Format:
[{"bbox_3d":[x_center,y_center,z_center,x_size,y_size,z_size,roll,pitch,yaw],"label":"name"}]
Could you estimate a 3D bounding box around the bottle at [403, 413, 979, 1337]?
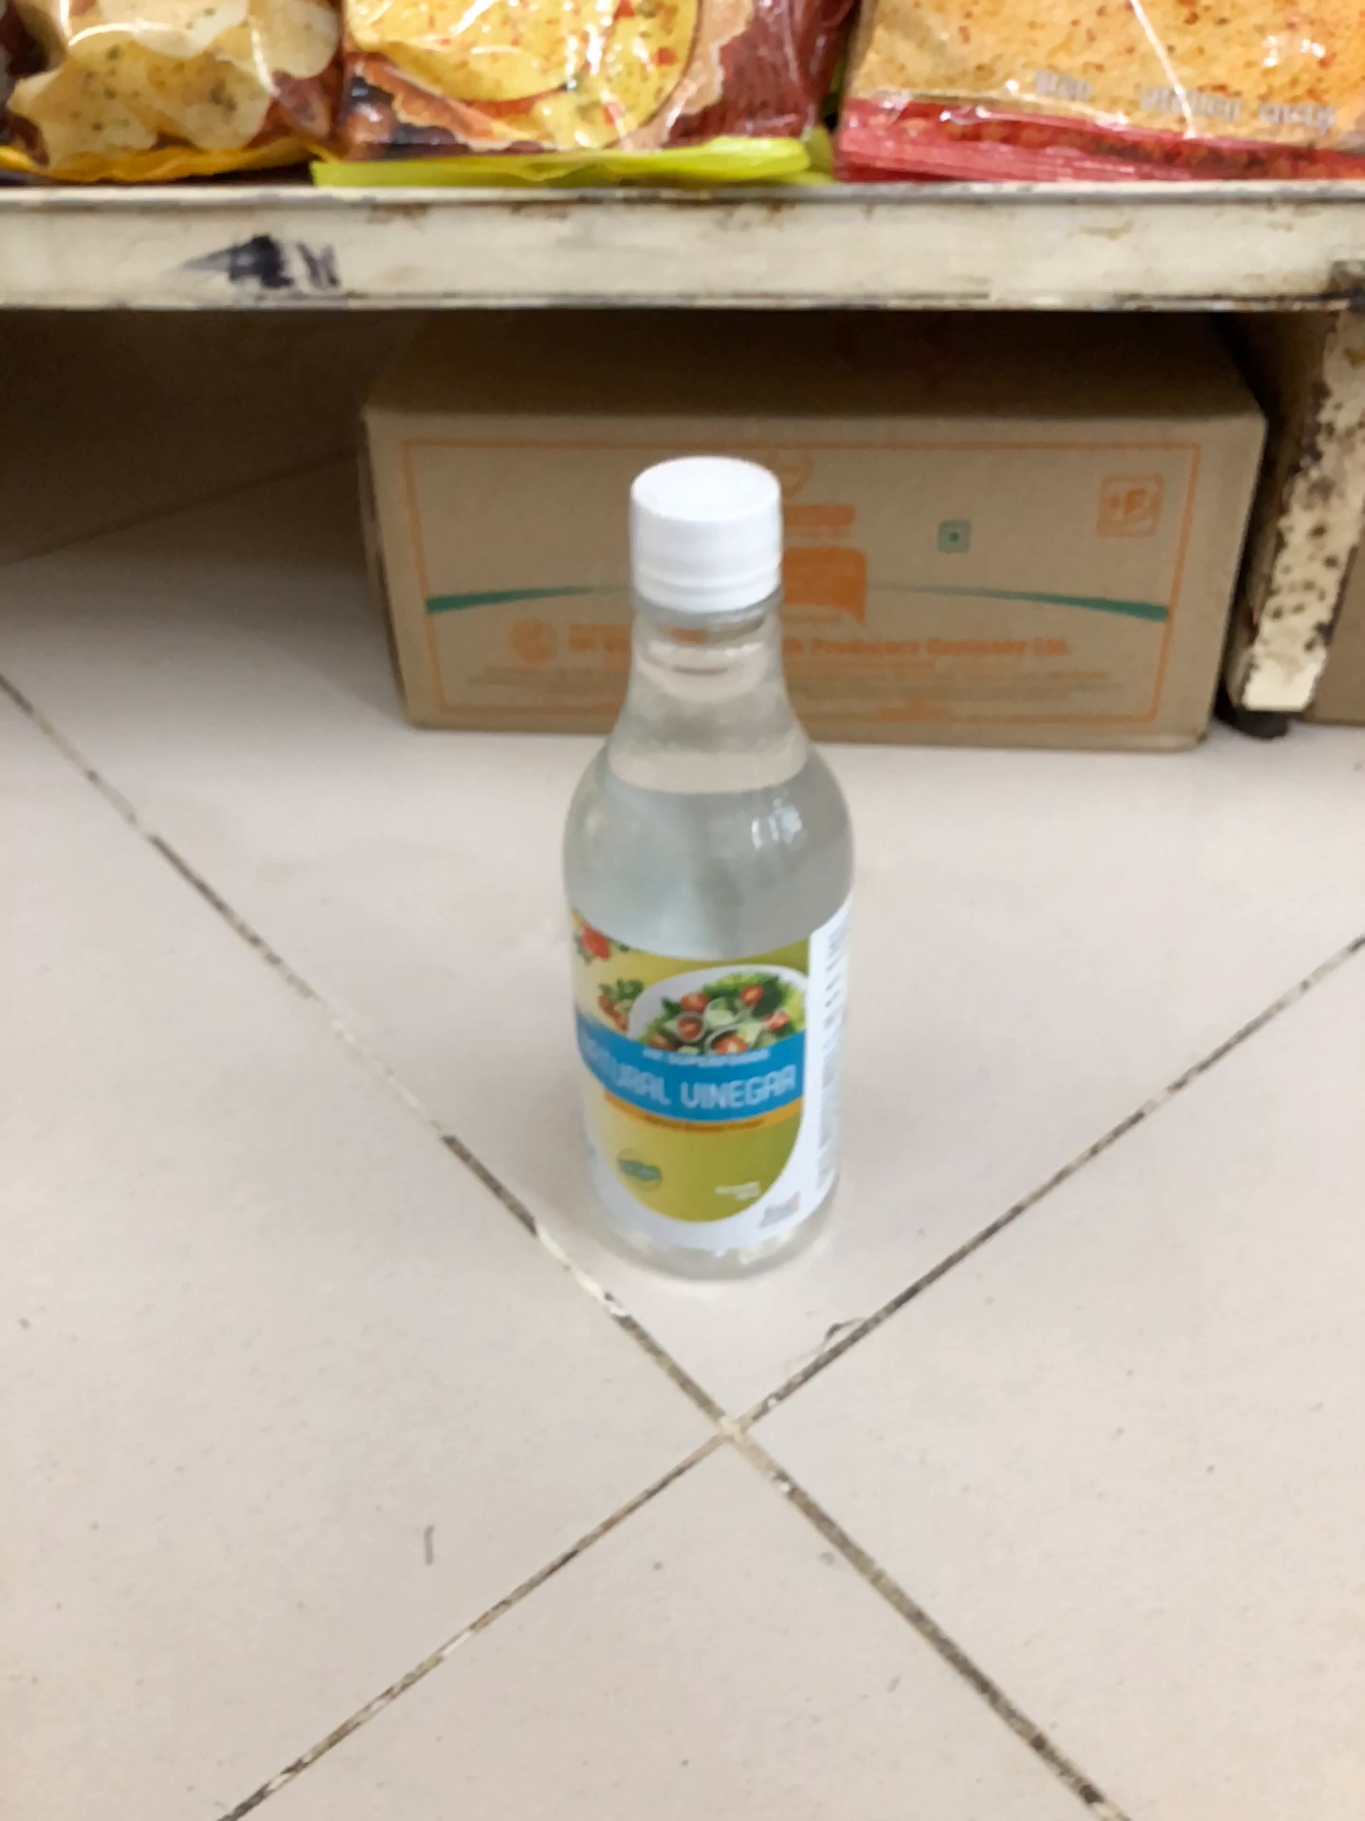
[{"bbox_3d":[0.007,-0.005,0.385,0.090,0.199,0.091,-1,38,1],"label":"bottle"}]
